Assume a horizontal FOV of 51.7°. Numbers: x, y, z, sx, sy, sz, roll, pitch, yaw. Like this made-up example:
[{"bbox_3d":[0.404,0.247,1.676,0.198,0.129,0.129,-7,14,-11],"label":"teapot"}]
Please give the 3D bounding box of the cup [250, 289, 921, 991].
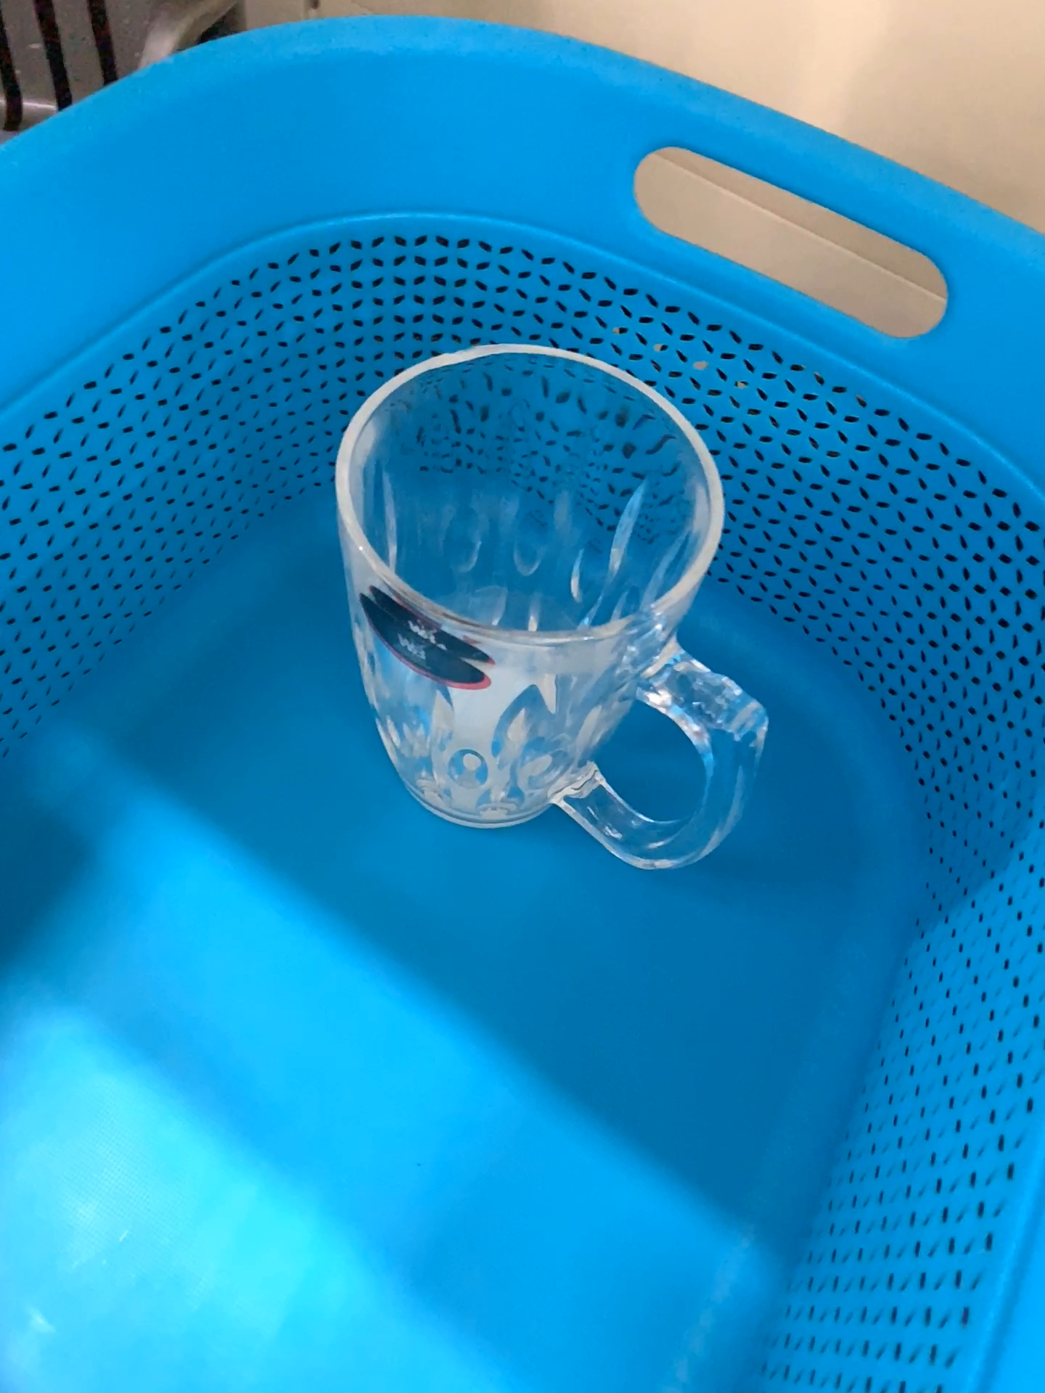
[{"bbox_3d":[0.009,-0.007,0.261,0.109,0.117,0.078,29,60,11],"label":"cup"}]
